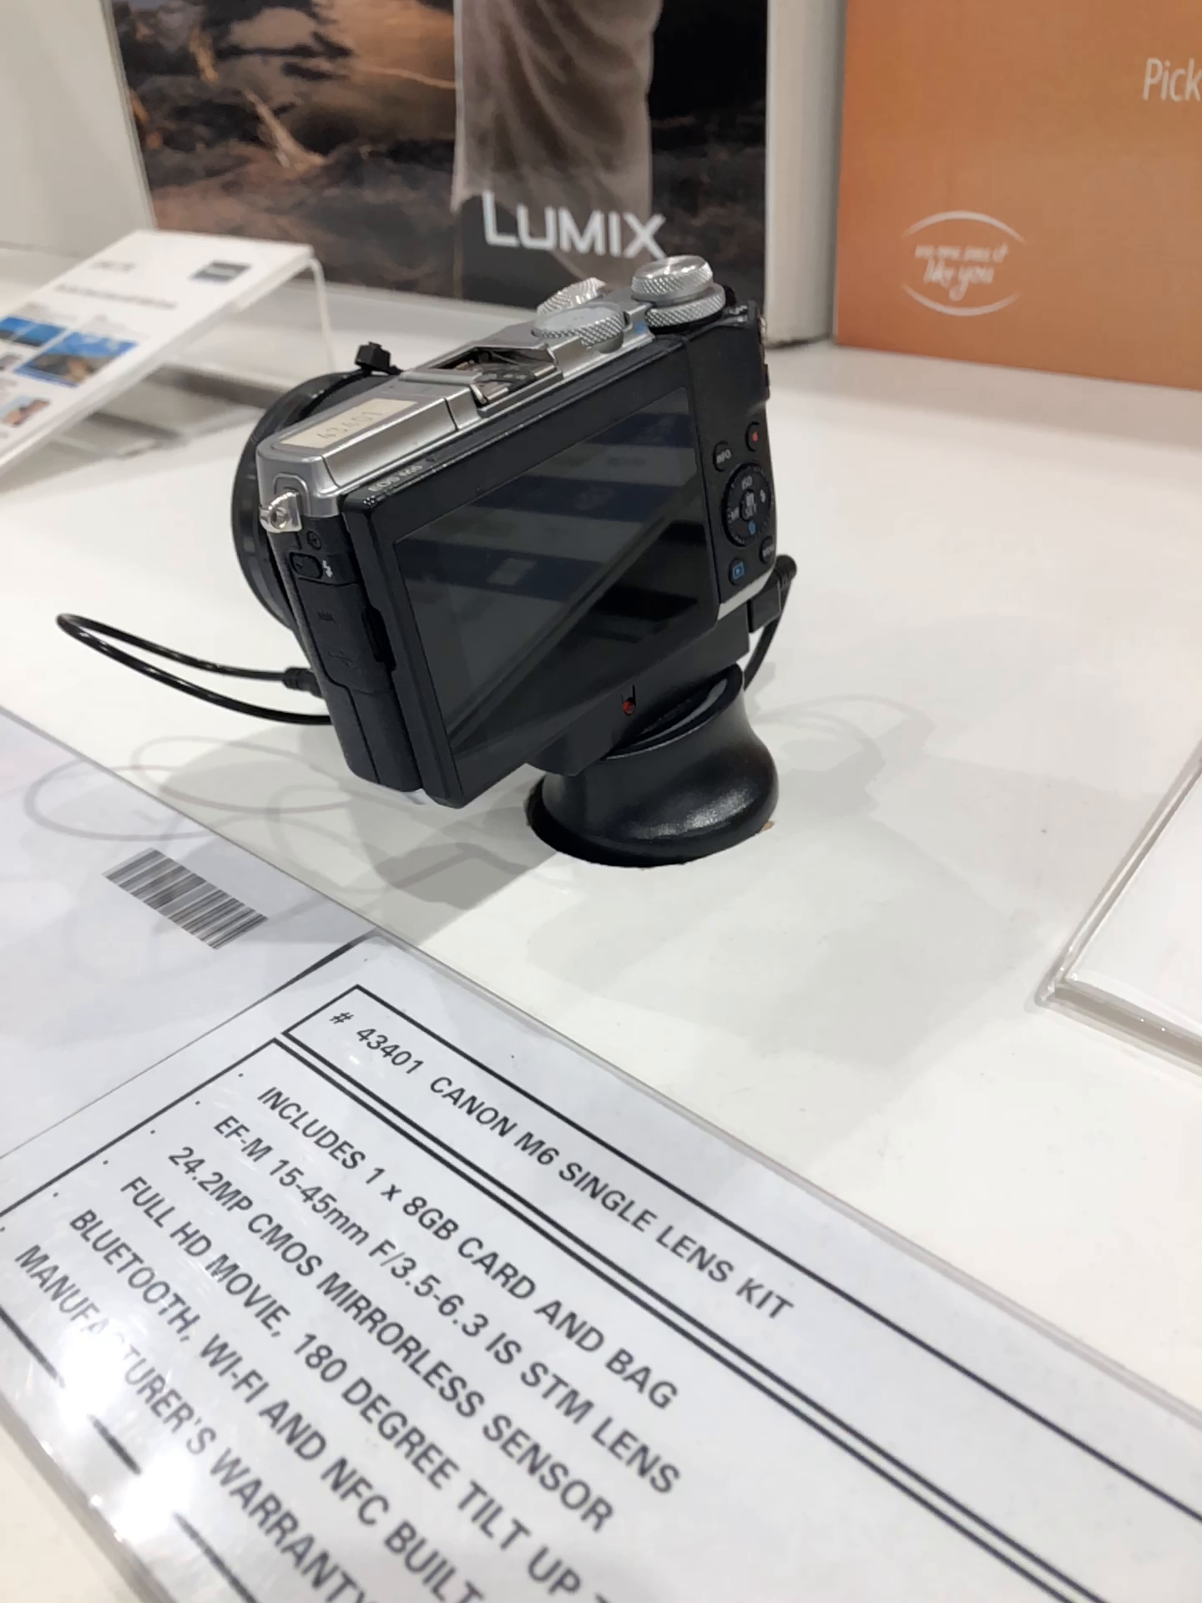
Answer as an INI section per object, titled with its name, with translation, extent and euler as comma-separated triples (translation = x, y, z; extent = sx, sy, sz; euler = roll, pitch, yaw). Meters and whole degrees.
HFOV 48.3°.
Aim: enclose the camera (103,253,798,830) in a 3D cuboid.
[camera]
translation = -0.026, -0.062, 0.280
extent = 0.083, 0.075, 0.102
euler = 19, 43, 39
